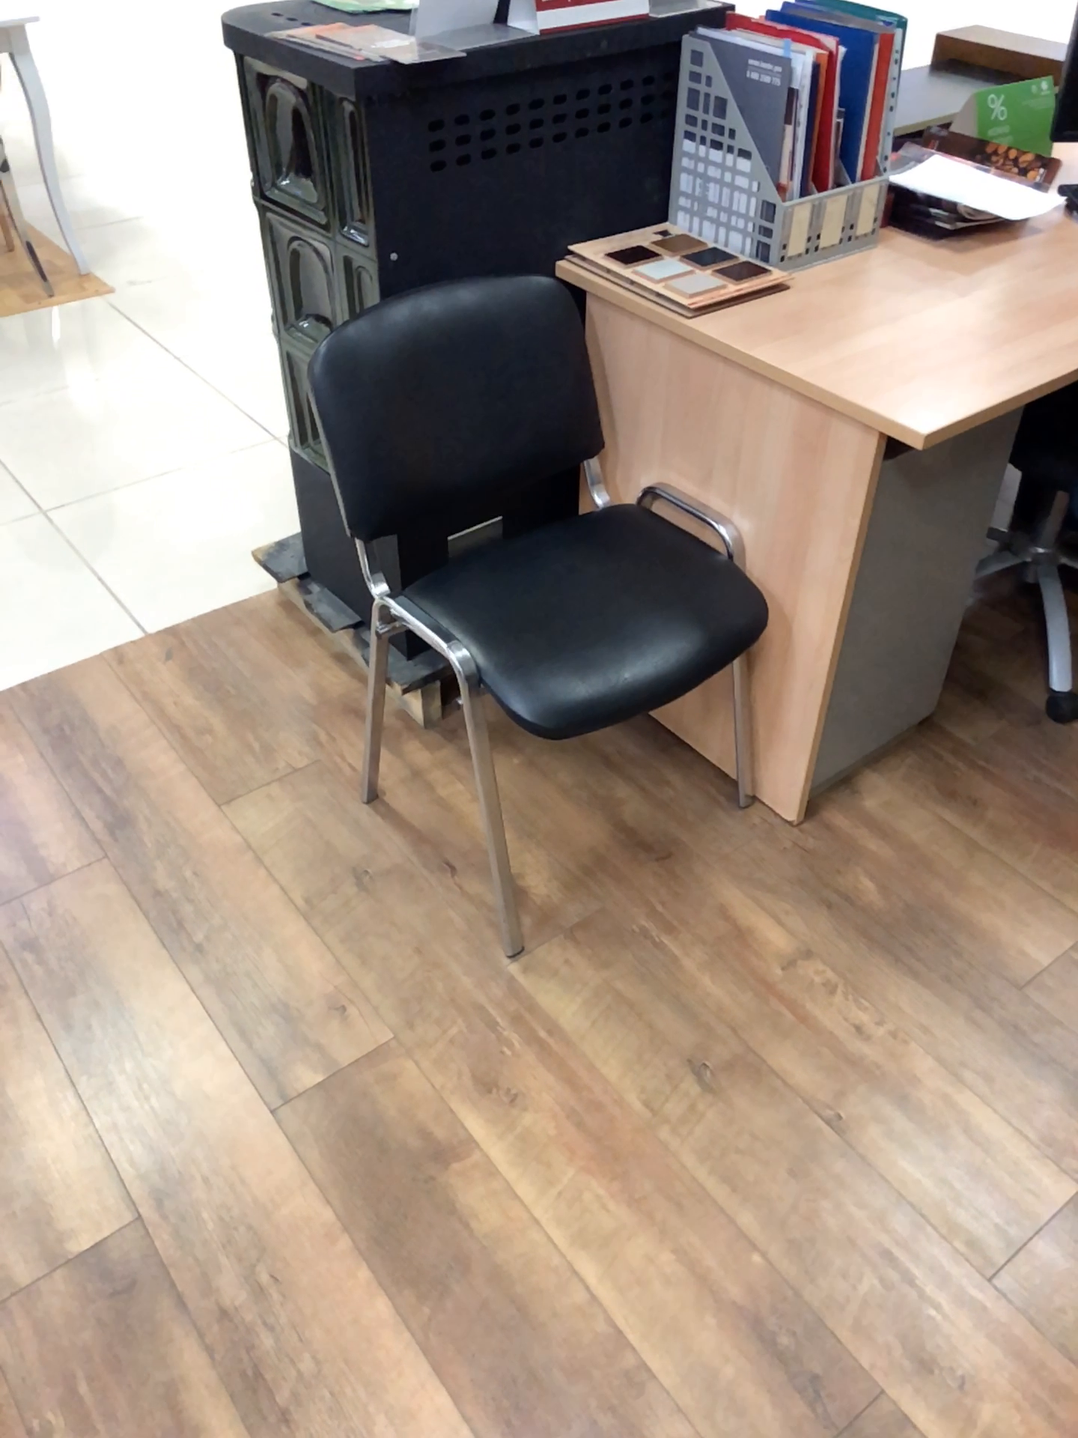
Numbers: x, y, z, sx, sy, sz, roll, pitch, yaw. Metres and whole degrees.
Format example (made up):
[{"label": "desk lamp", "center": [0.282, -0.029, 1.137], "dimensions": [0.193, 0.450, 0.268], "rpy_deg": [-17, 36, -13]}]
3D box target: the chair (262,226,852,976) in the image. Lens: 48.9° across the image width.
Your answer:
[{"label": "chair", "center": [0.020, -0.181, 1.786], "dimensions": [0.581, 0.855, 0.482], "rpy_deg": [-27, 47, -29]}]
